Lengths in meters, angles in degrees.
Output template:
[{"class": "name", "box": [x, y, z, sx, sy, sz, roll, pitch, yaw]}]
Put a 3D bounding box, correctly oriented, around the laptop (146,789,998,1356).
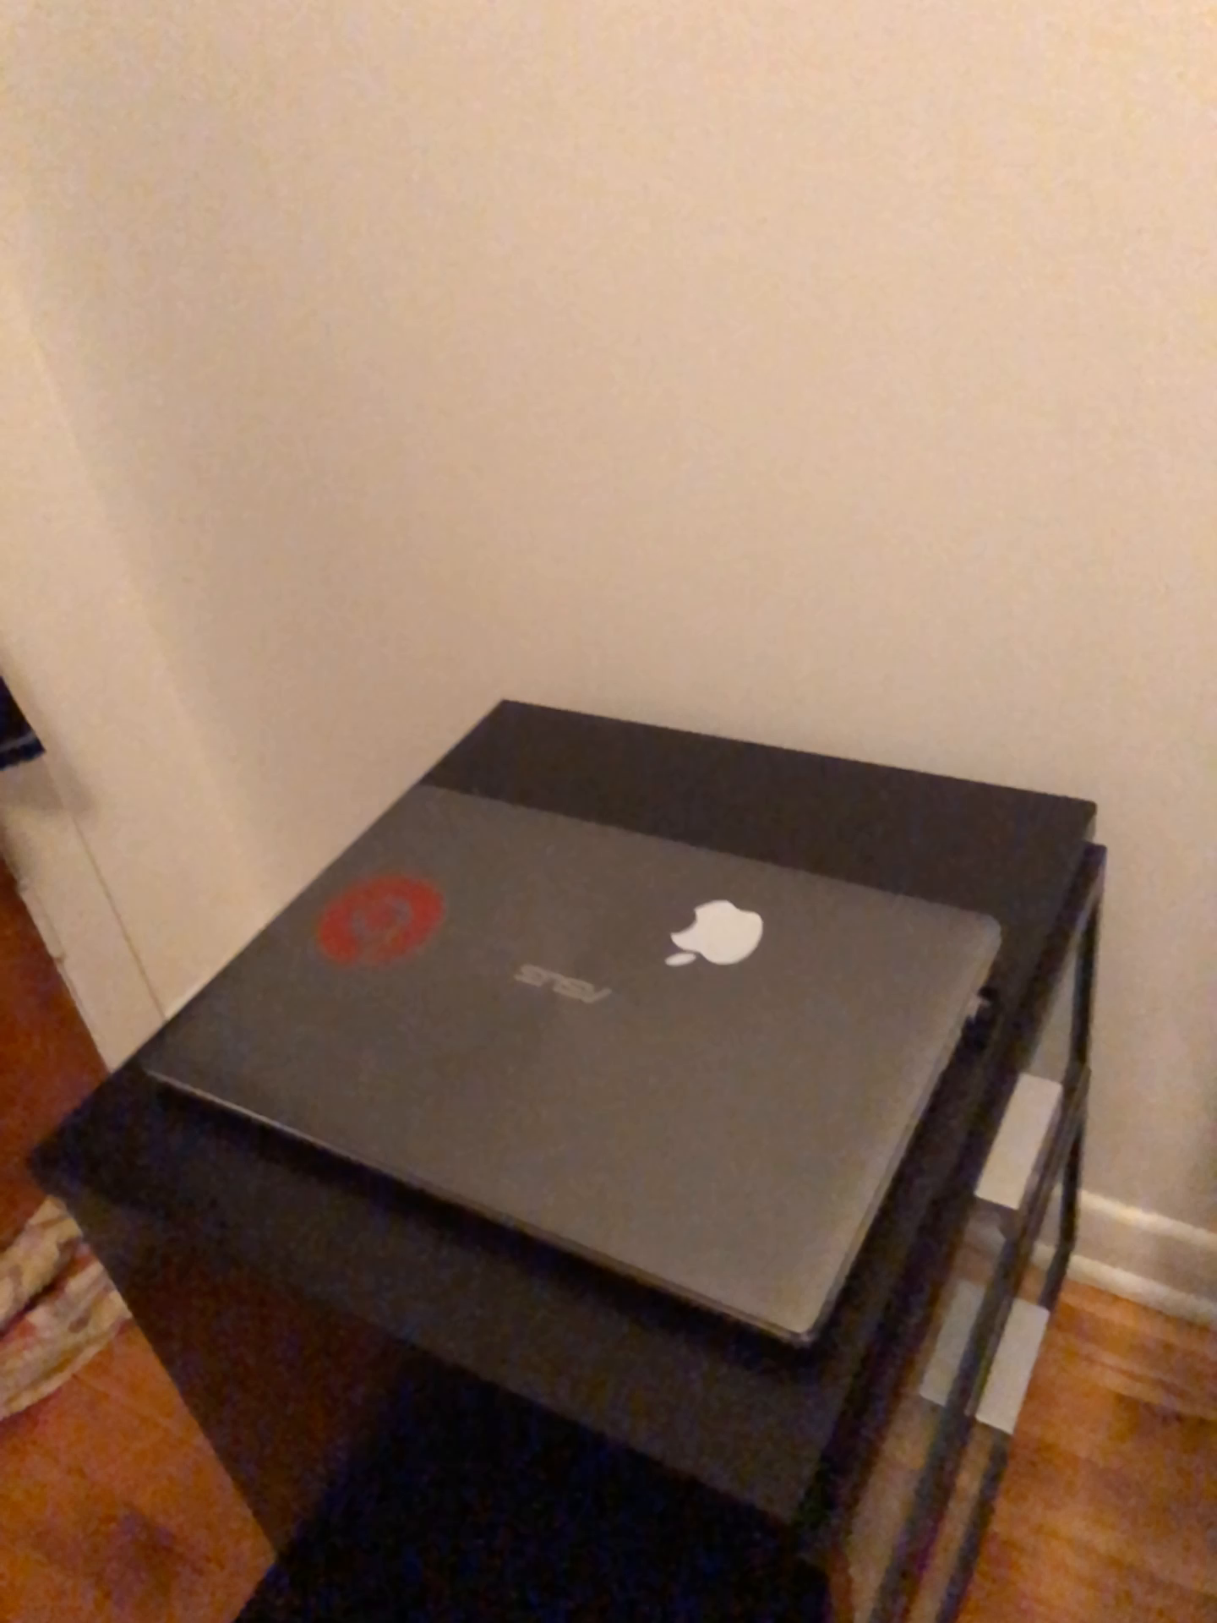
[{"class": "laptop", "box": [-0.022, 0.098, 0.686, 0.374, 0.010, 0.249, 12, 42, 30]}]
